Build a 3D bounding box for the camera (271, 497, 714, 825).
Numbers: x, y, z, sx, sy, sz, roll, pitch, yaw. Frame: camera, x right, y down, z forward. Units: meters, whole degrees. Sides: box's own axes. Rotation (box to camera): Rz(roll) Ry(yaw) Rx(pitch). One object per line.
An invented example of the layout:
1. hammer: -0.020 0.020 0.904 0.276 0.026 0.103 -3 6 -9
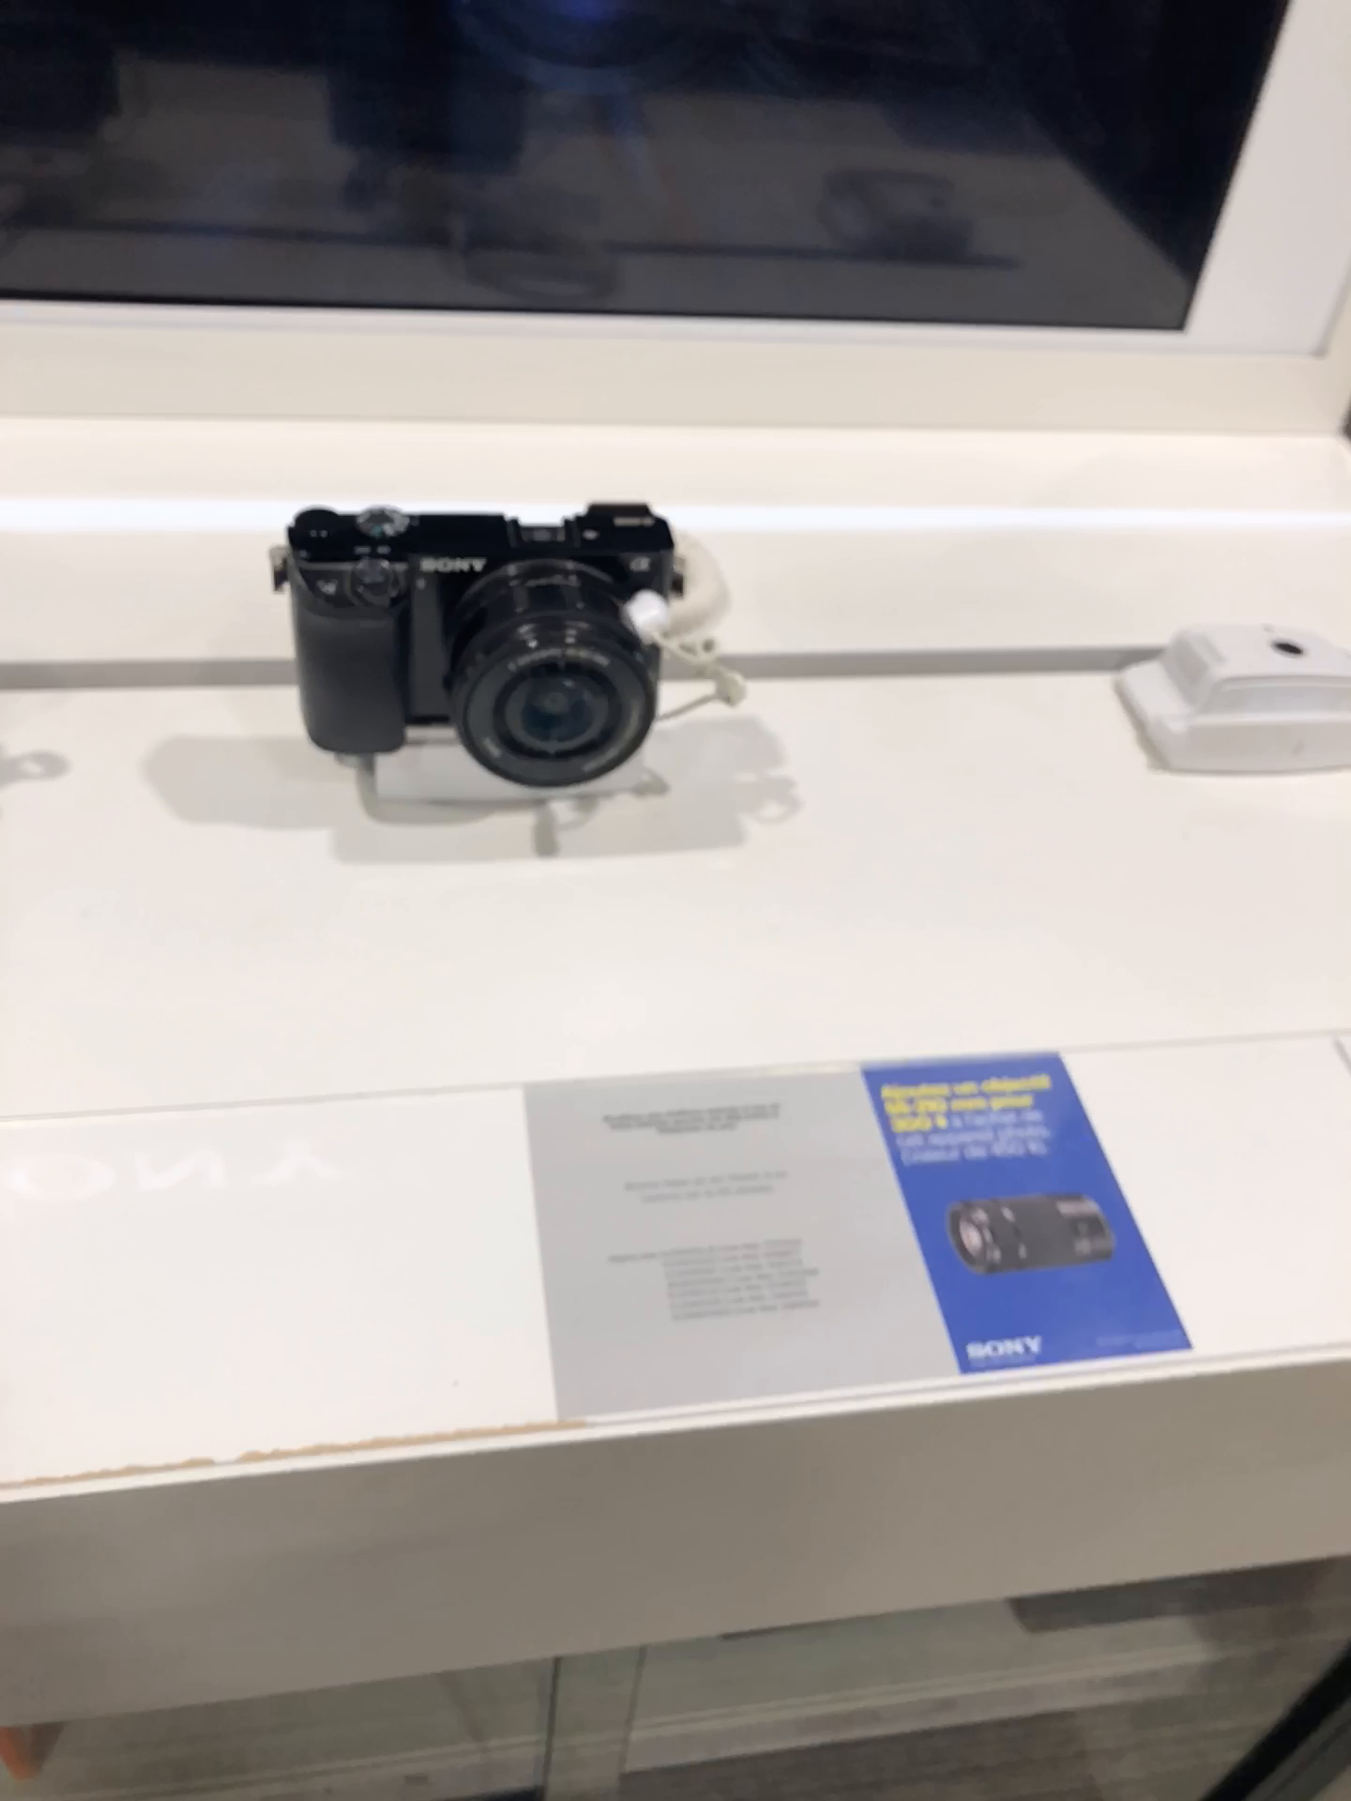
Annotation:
1. camera: -0.061 -0.079 0.494 0.130 0.077 0.065 -4 44 -11
